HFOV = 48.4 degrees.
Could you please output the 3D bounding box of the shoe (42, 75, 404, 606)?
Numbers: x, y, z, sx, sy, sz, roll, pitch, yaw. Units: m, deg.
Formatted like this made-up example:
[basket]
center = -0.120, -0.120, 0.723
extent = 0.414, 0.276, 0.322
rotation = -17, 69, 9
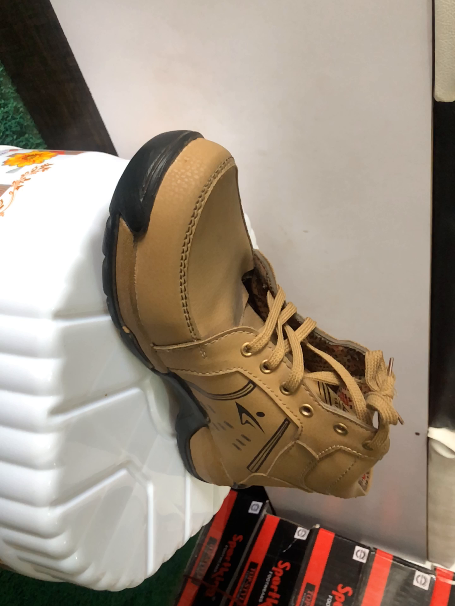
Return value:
[shoe]
center = 0.037, 0.048, 0.301
extent = 0.141, 0.109, 0.301
rotation = -57, 143, -45
